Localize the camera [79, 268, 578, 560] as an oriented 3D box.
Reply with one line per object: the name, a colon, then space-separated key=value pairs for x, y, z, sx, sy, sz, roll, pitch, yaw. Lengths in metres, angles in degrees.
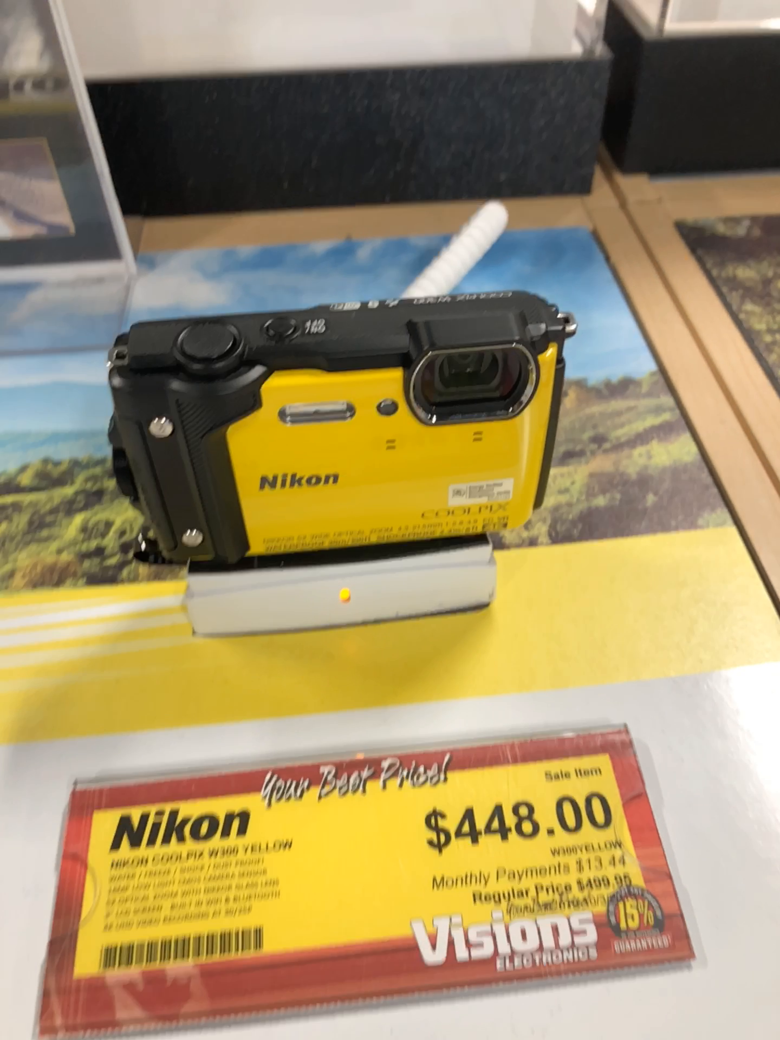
camera: x=-0.014 y=-0.026 z=0.224 sx=0.110 sy=0.060 sz=0.030 roll=-5 pitch=47 yaw=-3
